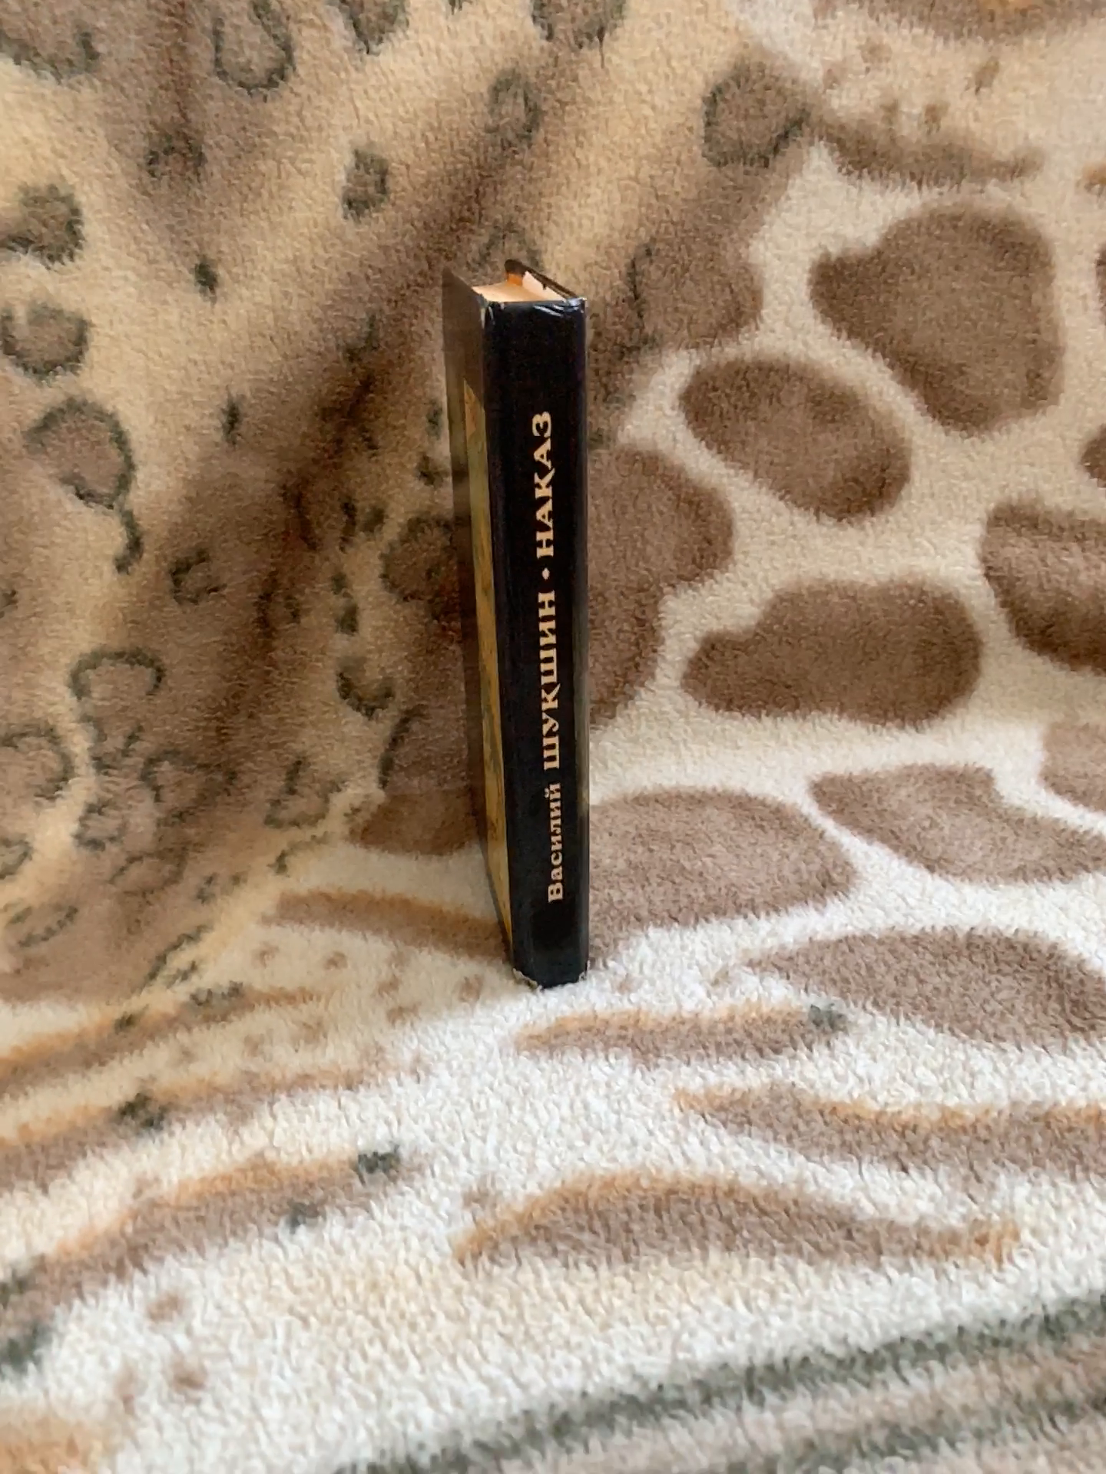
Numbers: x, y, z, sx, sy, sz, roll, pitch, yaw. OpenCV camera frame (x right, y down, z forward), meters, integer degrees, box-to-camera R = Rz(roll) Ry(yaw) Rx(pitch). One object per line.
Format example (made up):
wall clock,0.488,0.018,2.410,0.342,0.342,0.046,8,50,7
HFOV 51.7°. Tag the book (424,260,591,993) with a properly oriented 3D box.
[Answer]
book,-0.016,-0.040,0.368,0.030,0.198,0.131,-5,27,-8
